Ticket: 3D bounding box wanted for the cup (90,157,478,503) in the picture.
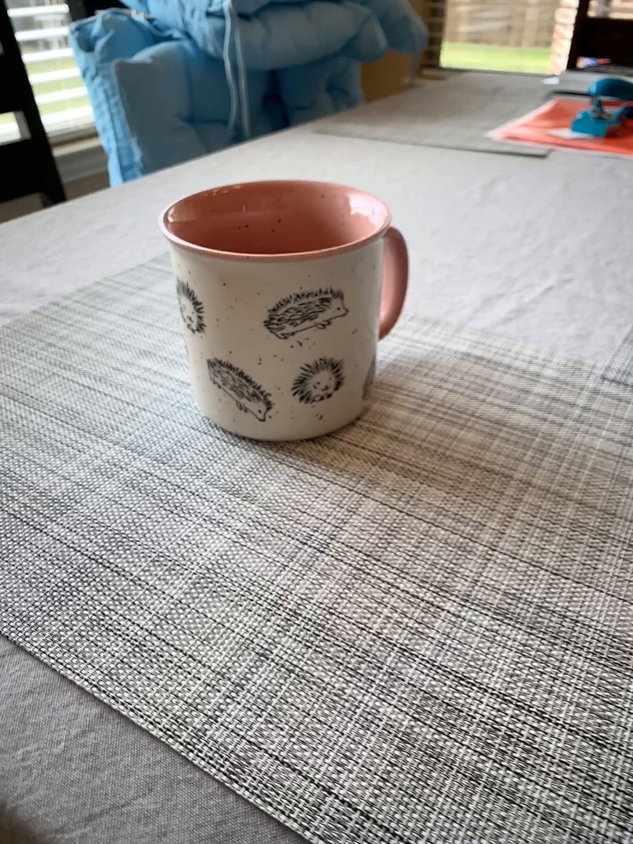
[{"bbox_3d":[-0.011,-0.062,0.354,0.121,0.106,0.150,25,42,31],"label":"cup"}]
